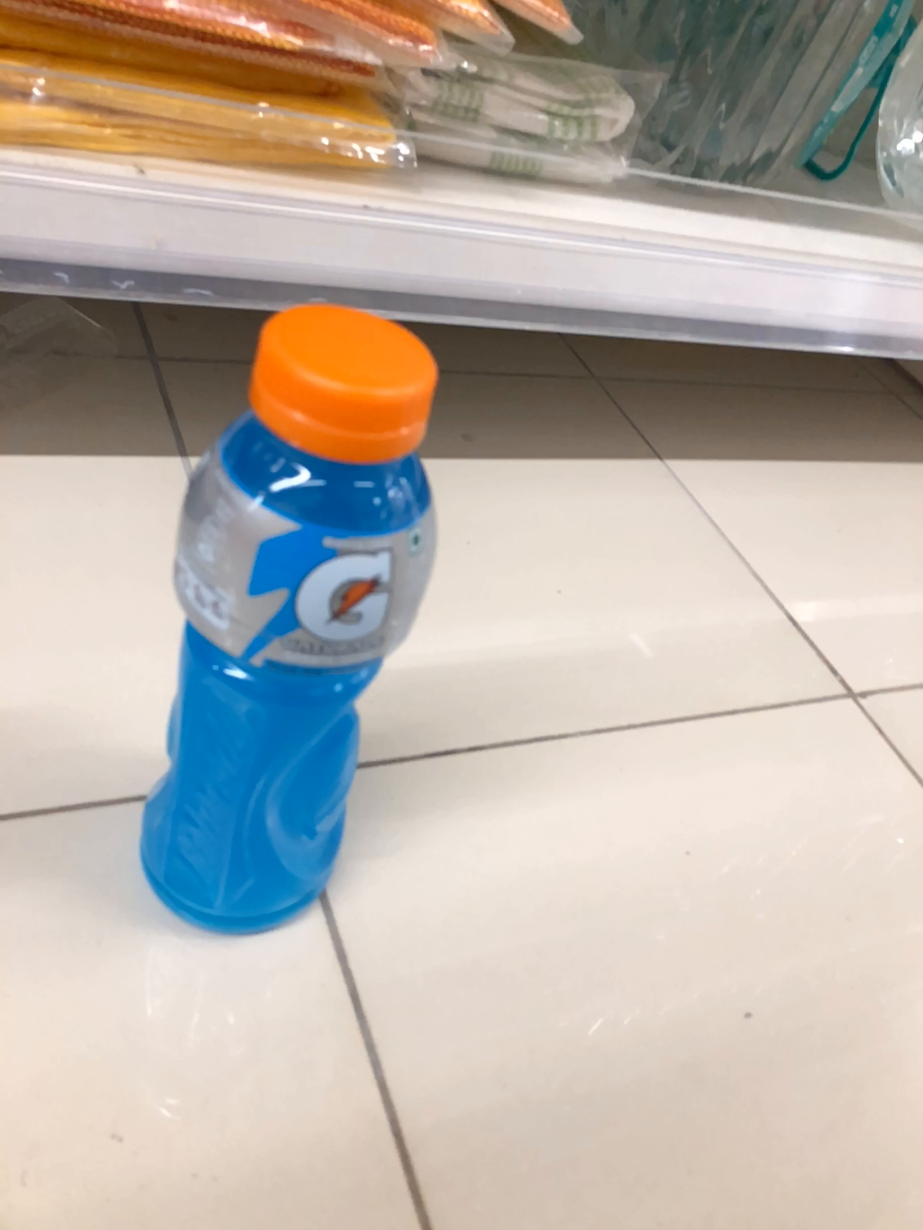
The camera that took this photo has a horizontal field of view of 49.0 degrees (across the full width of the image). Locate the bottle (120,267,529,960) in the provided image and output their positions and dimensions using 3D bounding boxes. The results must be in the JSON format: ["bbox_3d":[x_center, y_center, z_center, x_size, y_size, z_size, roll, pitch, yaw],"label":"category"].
[{"bbox_3d":[-0.050,0.014,0.281,0.070,0.189,0.070,12,40,-10],"label":"bottle"}]
